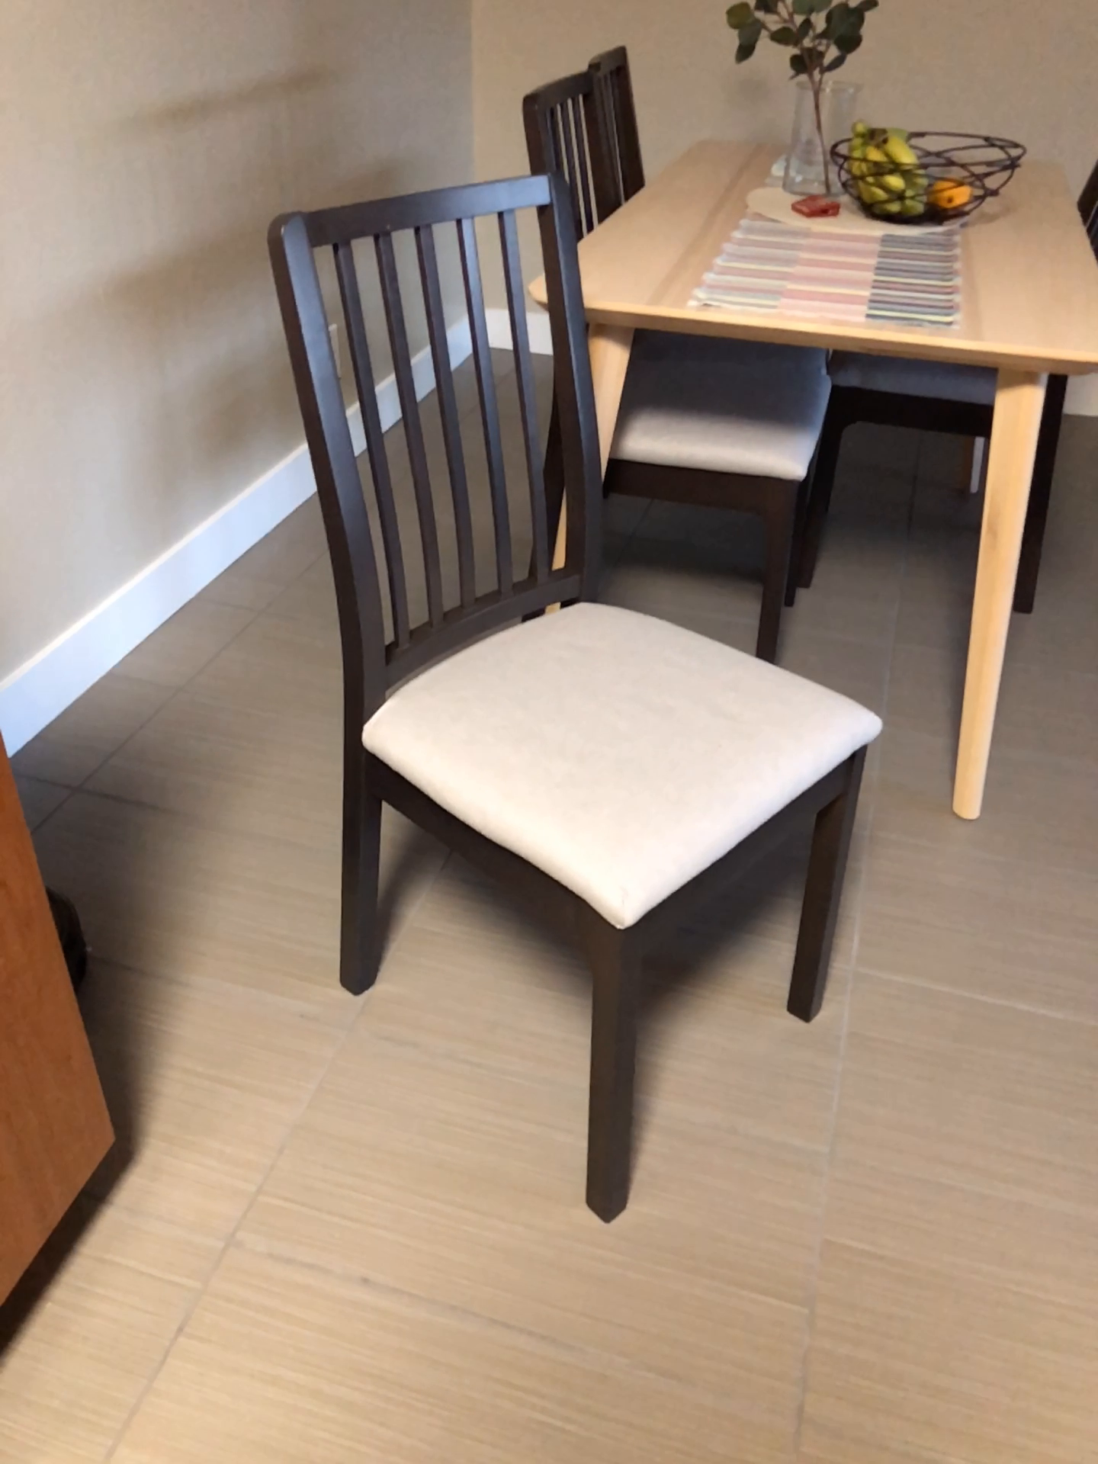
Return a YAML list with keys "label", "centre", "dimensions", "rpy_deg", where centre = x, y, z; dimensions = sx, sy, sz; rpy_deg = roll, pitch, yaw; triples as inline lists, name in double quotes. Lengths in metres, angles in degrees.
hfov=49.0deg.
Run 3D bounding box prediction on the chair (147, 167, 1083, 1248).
- label: "chair"
  centre: [0.056, -0.077, 1.294]
  dimensions: [0.591, 0.846, 0.582]
  rpy_deg: [28, 41, 33]
